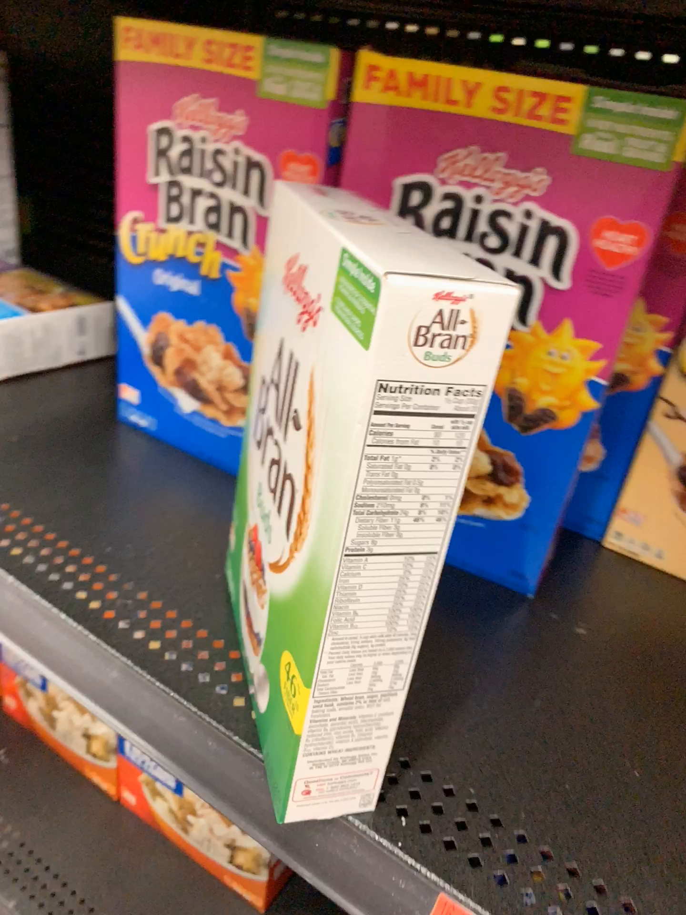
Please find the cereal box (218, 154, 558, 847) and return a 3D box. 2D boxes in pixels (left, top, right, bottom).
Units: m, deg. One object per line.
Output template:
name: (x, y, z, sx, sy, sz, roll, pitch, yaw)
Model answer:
cereal box: (-0.009, 0.010, 0.341, 0.050, 0.259, 0.191, 2, 28, -19)
